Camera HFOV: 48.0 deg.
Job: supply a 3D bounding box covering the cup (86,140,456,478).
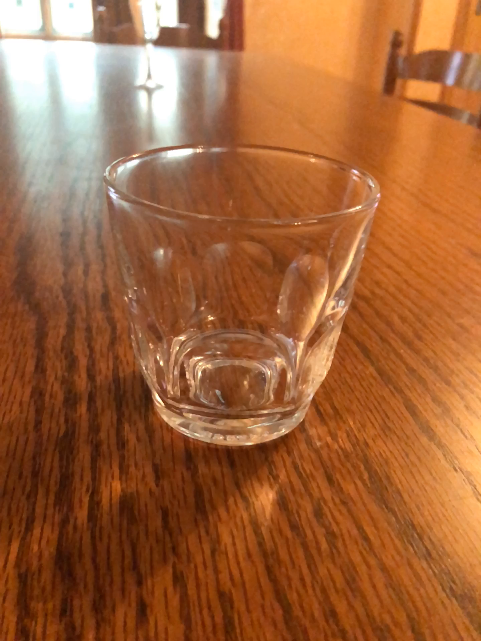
[{"bbox_3d":[0.000,-0.013,0.174,0.083,0.069,0.082,2,29,-1],"label":"cup"}]
